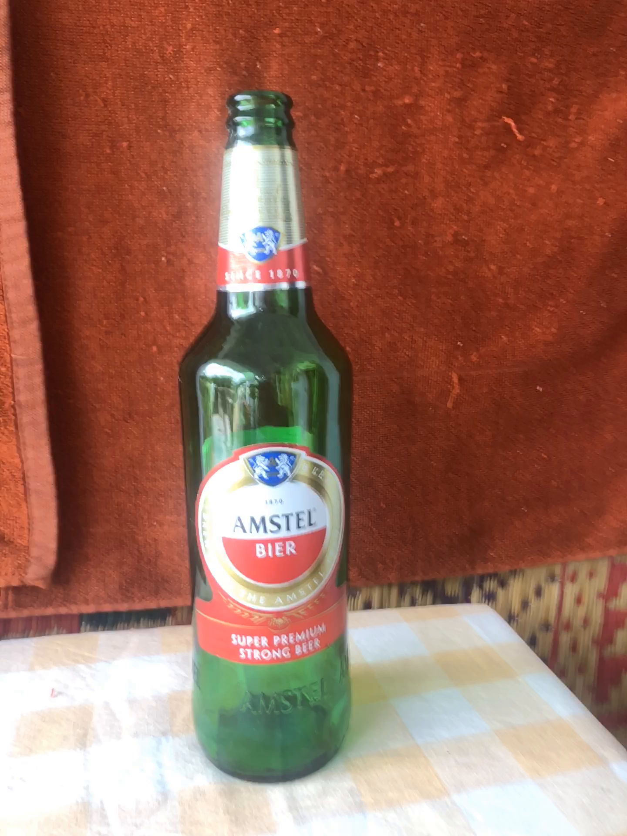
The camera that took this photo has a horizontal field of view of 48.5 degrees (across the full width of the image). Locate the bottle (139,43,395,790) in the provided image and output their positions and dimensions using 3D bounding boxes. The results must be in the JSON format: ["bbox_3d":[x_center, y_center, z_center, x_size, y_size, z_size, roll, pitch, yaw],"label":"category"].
[{"bbox_3d":[-0.019,0.007,0.286,0.080,0.269,0.080,1,12,0],"label":"bottle"}]
